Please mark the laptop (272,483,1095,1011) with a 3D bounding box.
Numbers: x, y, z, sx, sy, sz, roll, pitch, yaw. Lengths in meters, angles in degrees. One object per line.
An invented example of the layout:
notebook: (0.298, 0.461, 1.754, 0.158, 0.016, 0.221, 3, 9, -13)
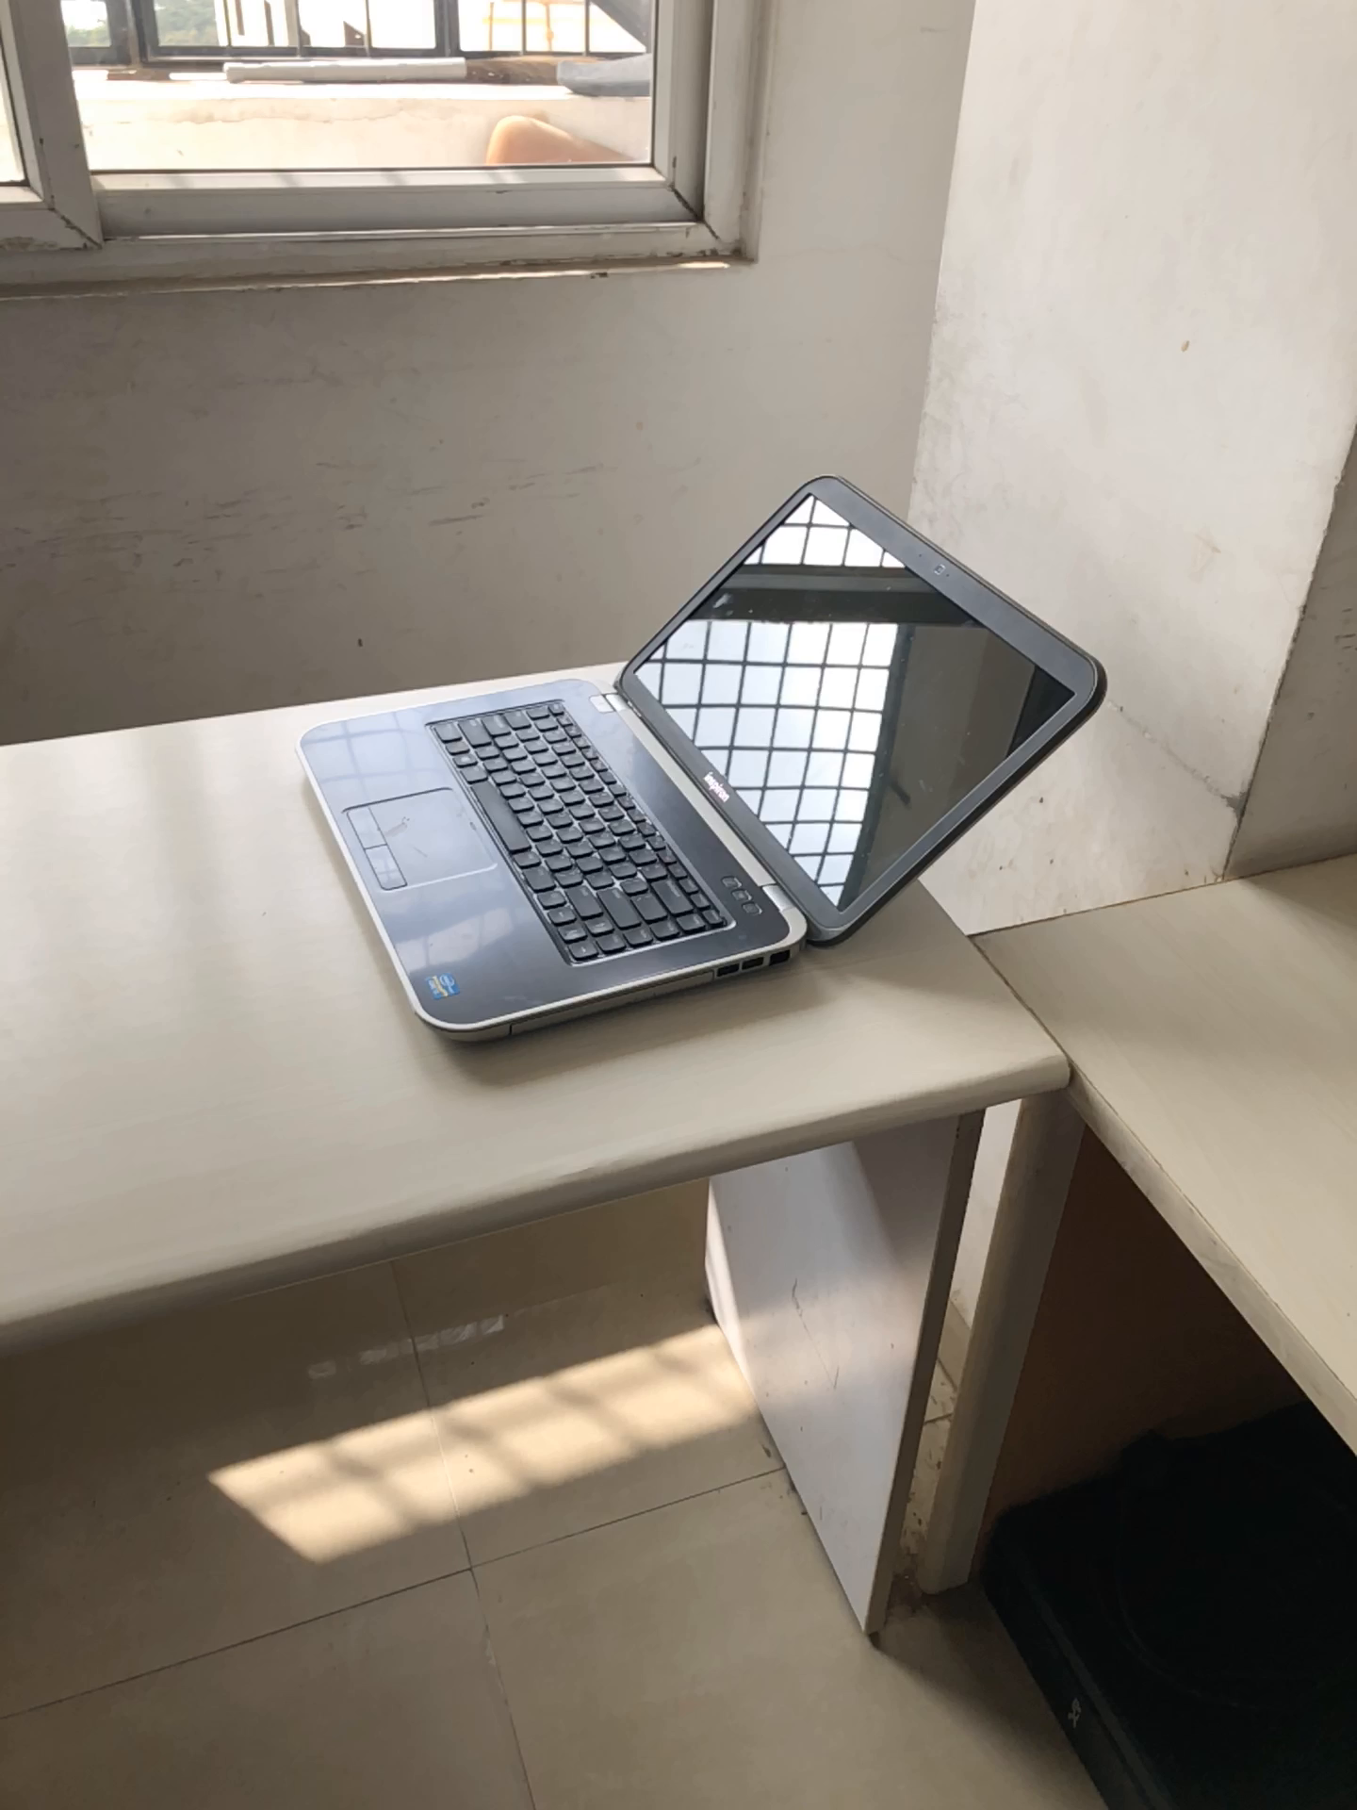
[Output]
laptop: (-0.015, -0.131, 0.987, 0.406, 0.145, 0.343, -12, 38, -20)
